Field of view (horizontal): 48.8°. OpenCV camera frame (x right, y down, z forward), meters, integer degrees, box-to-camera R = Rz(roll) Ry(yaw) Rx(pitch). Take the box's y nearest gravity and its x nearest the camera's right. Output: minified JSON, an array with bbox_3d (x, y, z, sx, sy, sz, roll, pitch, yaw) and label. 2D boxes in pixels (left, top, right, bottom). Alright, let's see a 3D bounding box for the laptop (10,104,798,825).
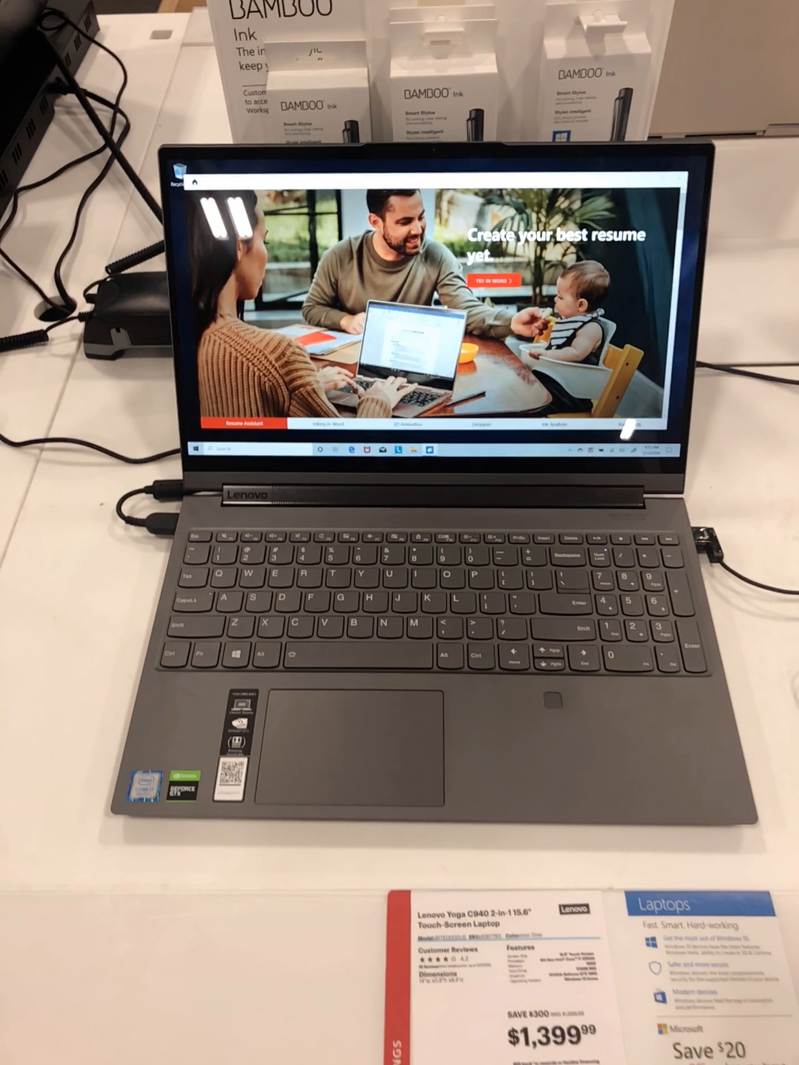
[{"bbox_3d":[0.010,-0.054,0.523,0.336,0.169,0.375,0,58,1],"label":"laptop"}]
